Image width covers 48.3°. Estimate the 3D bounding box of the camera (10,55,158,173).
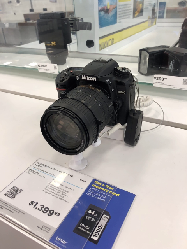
[{"bbox_3d":[0.001,-0.037,0.334,0.160,0.100,0.171,10,34,23],"label":"camera"}]
